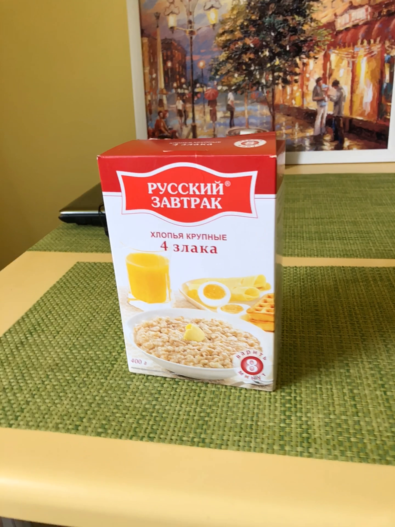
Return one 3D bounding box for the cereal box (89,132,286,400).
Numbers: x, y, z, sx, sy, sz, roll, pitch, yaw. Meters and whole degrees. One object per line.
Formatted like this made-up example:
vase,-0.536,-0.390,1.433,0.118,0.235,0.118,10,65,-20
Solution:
cereal box,0.001,0.001,0.358,0.130,0.199,0.070,4,25,15
